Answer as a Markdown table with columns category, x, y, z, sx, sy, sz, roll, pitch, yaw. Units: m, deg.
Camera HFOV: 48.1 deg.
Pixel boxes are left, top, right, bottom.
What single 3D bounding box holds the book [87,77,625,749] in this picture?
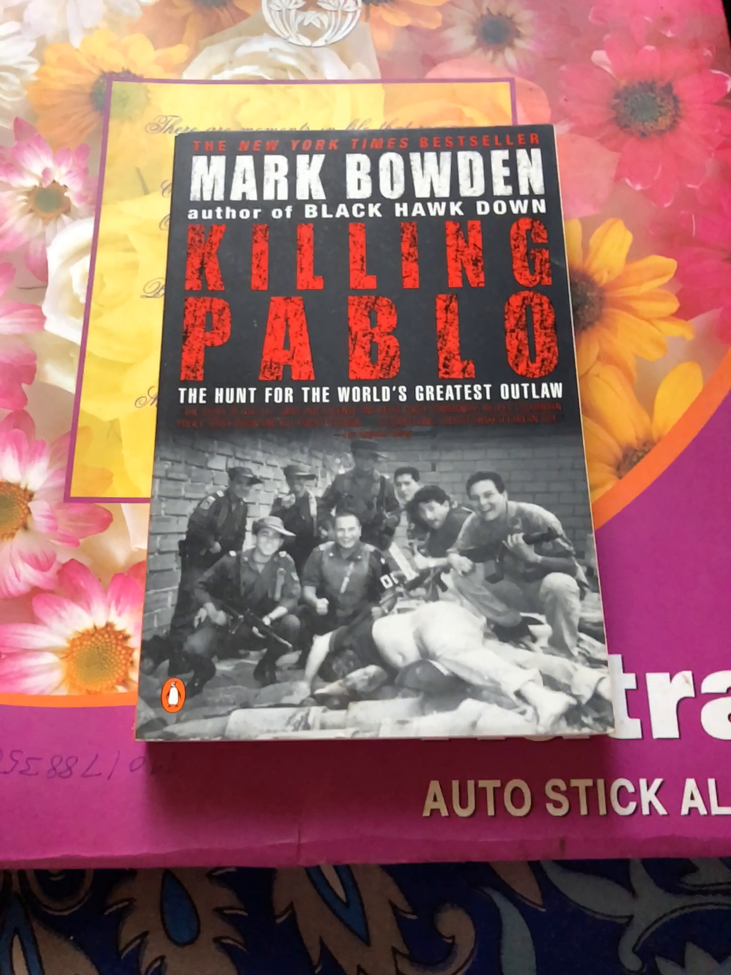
| category | x | y | z | sx | sy | sz | roll | pitch | yaw |
| --- | --- | --- | --- | --- | --- | --- | --- | --- | --- |
| book | -0.005 | -0.033 | 0.279 | 0.150 | 0.030 | 0.230 | -2 | 70 | 4 |
